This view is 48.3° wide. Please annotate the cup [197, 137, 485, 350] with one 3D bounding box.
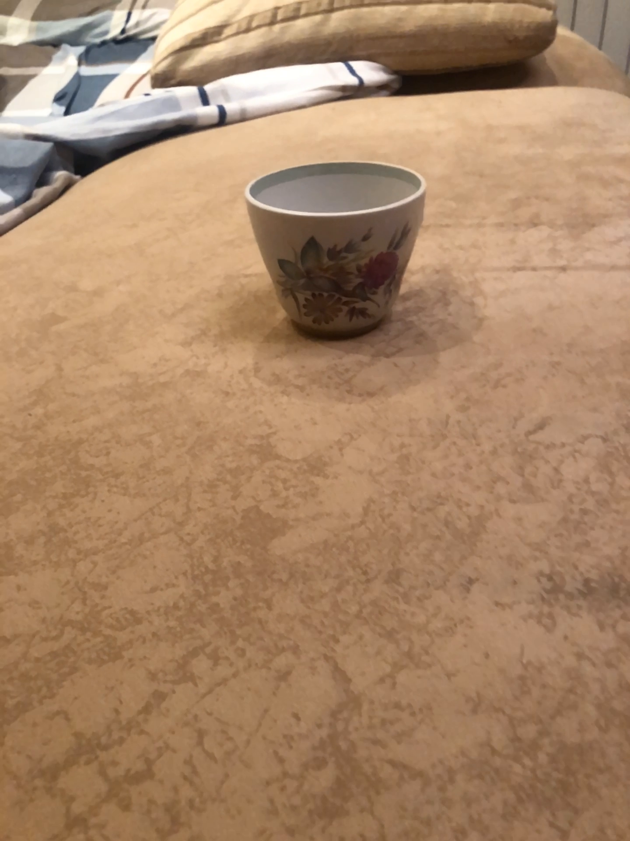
[{"bbox_3d":[0.016,-0.096,0.358,0.090,0.060,0.110,25,43,35],"label":"cup"}]
